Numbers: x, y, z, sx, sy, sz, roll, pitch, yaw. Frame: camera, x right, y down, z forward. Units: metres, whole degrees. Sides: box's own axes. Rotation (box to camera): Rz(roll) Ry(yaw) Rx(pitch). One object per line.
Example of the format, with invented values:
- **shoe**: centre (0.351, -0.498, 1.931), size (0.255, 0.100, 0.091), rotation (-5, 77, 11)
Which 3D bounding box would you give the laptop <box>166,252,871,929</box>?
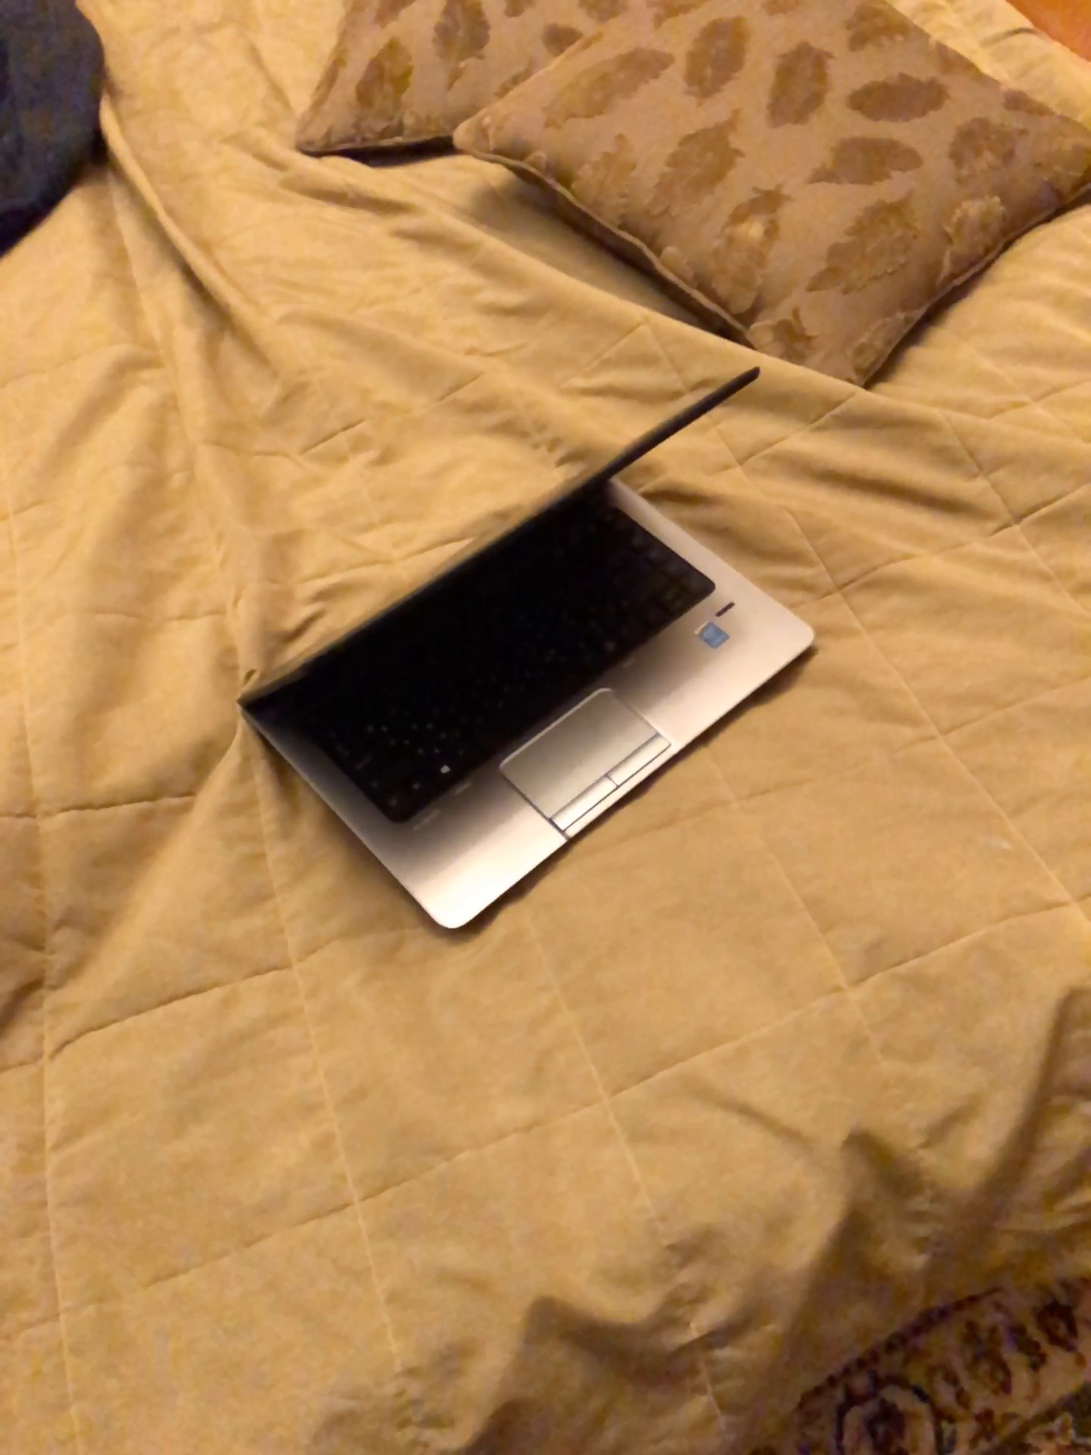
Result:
- **laptop**: centre (-0.010, -0.095, 0.748), size (0.332, 0.189, 0.225), rotation (-37, 62, -23)
